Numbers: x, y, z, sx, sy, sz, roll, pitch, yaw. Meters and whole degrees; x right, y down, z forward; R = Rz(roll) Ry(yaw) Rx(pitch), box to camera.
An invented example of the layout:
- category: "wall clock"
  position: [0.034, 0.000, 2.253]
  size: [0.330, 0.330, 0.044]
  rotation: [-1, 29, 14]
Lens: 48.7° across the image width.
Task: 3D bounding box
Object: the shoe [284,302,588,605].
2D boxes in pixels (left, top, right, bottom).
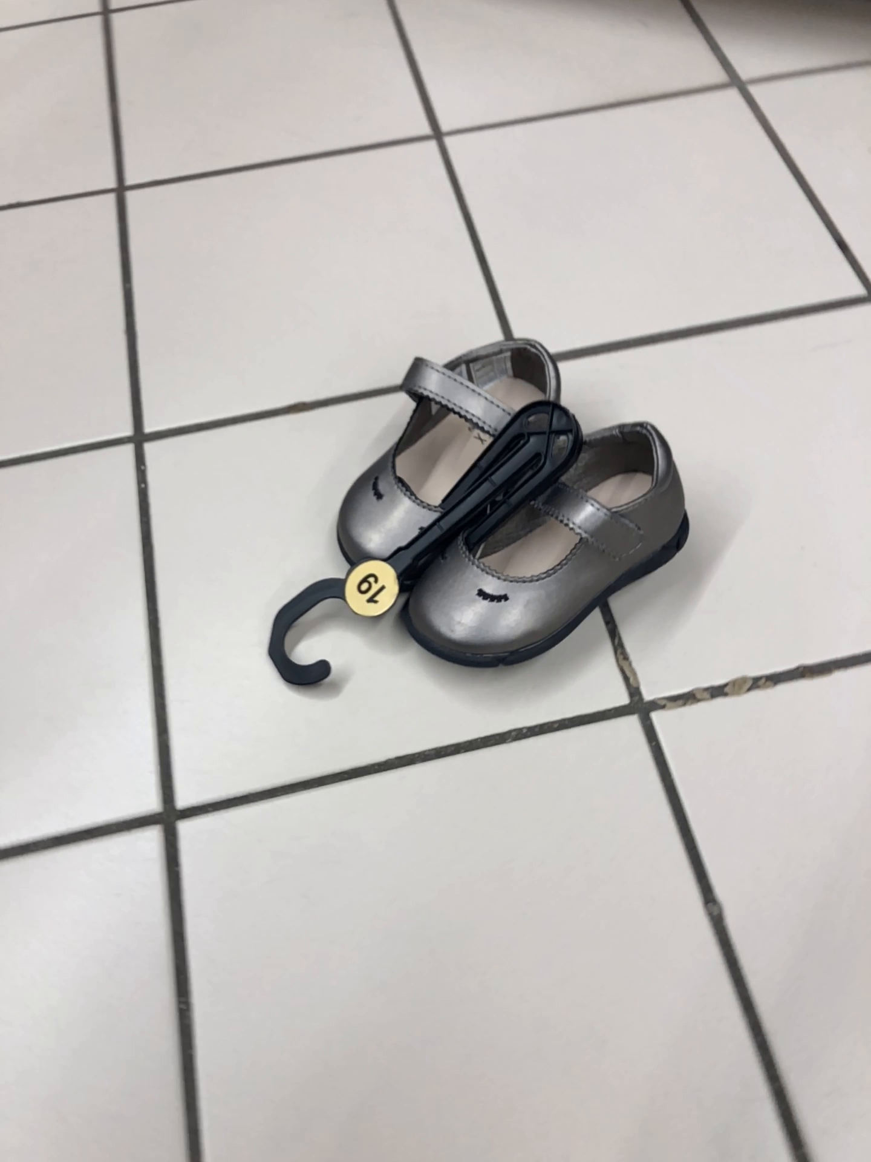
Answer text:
- category: "shoe"
  position: [0.003, -0.061, 0.446]
  size: [0.059, 0.047, 0.135]
  rotation: [38, 67, 22]

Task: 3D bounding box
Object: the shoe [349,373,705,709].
- category: "shoe"
  position: [0.042, -0.020, 0.408]
  size: [0.129, 0.061, 0.067]
  rotation: [-33, 49, -16]
